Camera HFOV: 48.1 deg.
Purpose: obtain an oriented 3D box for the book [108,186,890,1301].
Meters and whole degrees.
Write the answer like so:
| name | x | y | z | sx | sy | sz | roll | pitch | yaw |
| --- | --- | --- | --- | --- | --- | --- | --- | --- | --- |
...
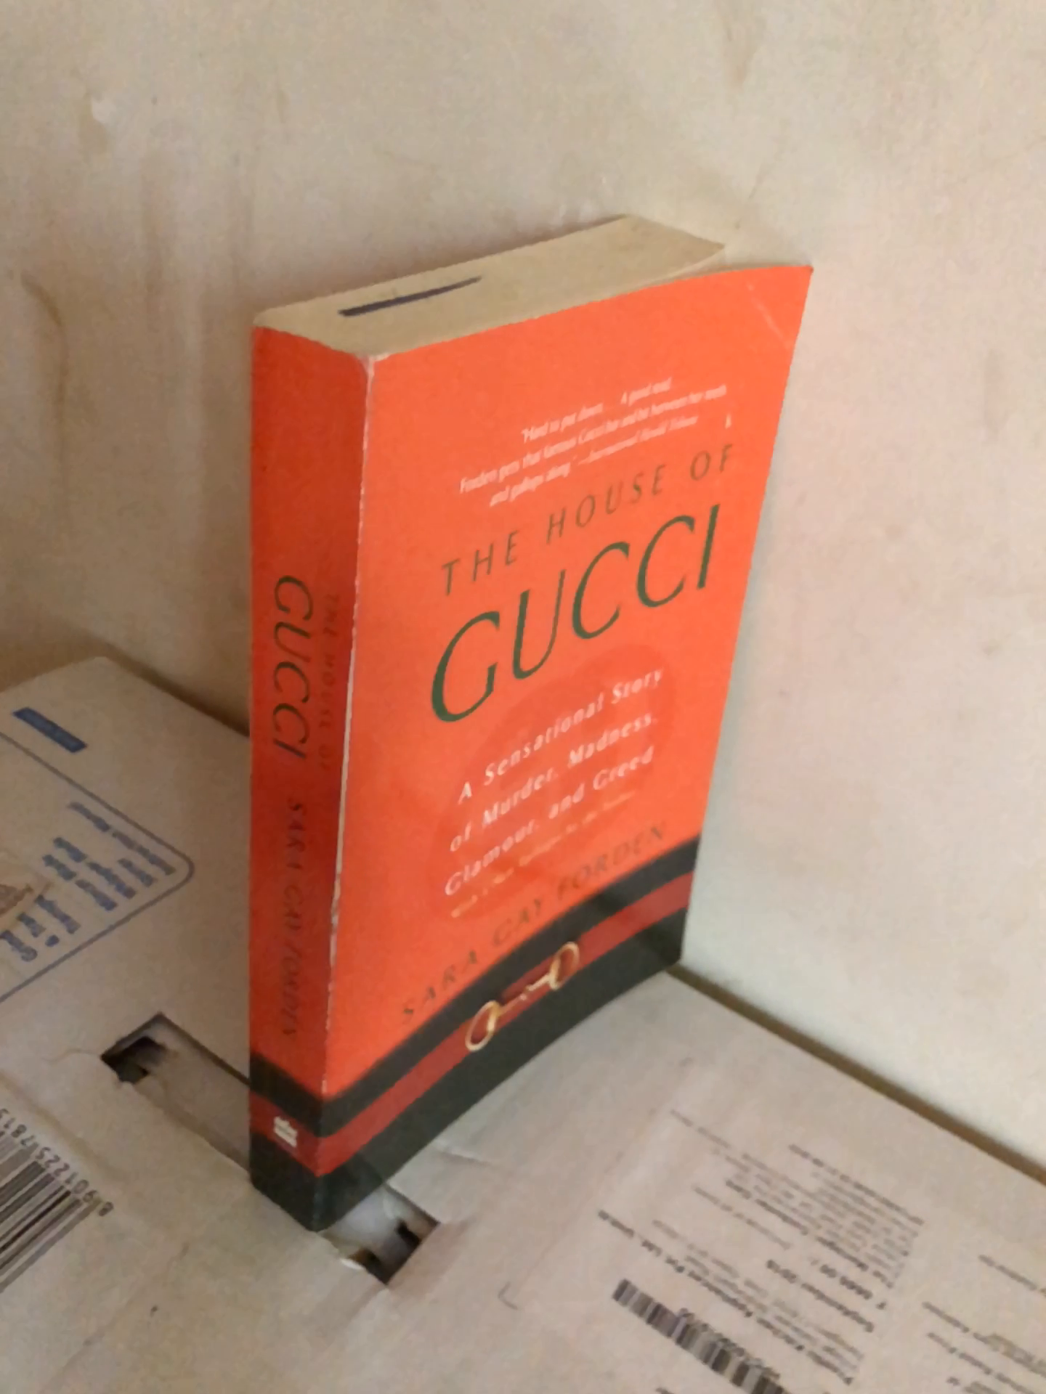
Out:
| name | x | y | z | sx | sy | sz | roll | pitch | yaw |
| --- | --- | --- | --- | --- | --- | --- | --- | --- | --- |
| book | 0.002 | 0.007 | 0.293 | 0.040 | 0.229 | 0.191 | 29 | 40 | 29 |
